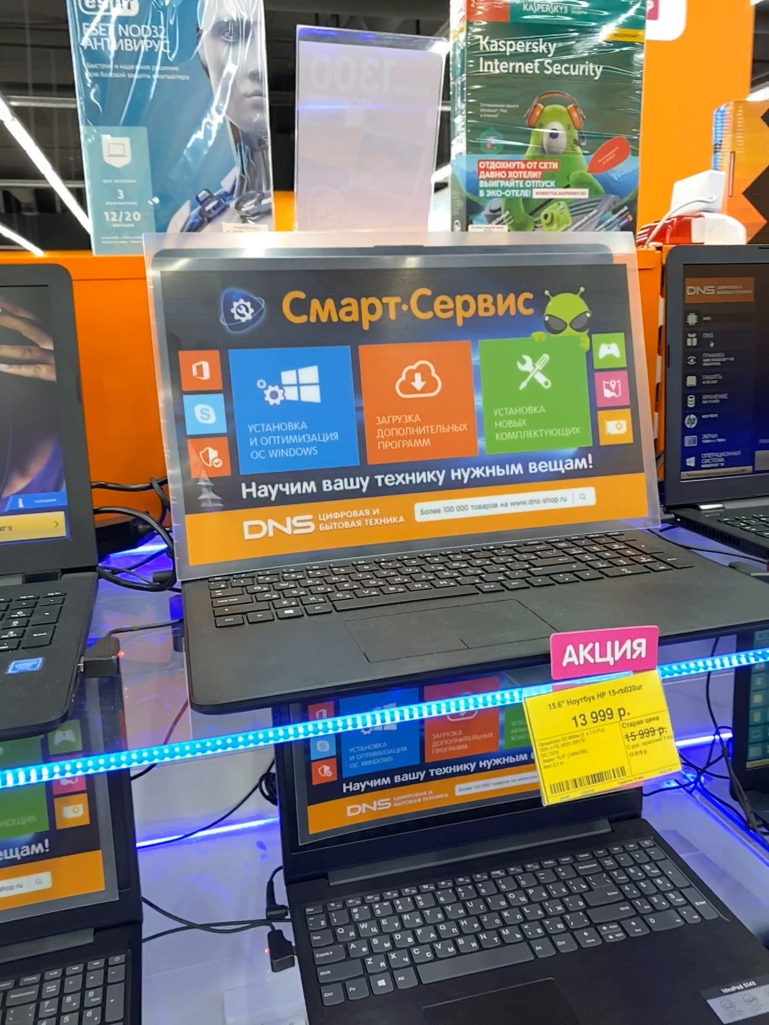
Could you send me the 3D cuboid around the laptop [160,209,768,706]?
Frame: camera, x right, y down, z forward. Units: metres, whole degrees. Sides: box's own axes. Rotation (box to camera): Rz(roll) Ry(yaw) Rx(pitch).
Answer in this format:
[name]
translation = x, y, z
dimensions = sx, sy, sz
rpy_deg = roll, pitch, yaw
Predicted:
[laptop]
translation = 0.054, -0.066, 0.540
dimensions = 0.377, 0.235, 0.262
rpy_deg = -5, 14, -13
